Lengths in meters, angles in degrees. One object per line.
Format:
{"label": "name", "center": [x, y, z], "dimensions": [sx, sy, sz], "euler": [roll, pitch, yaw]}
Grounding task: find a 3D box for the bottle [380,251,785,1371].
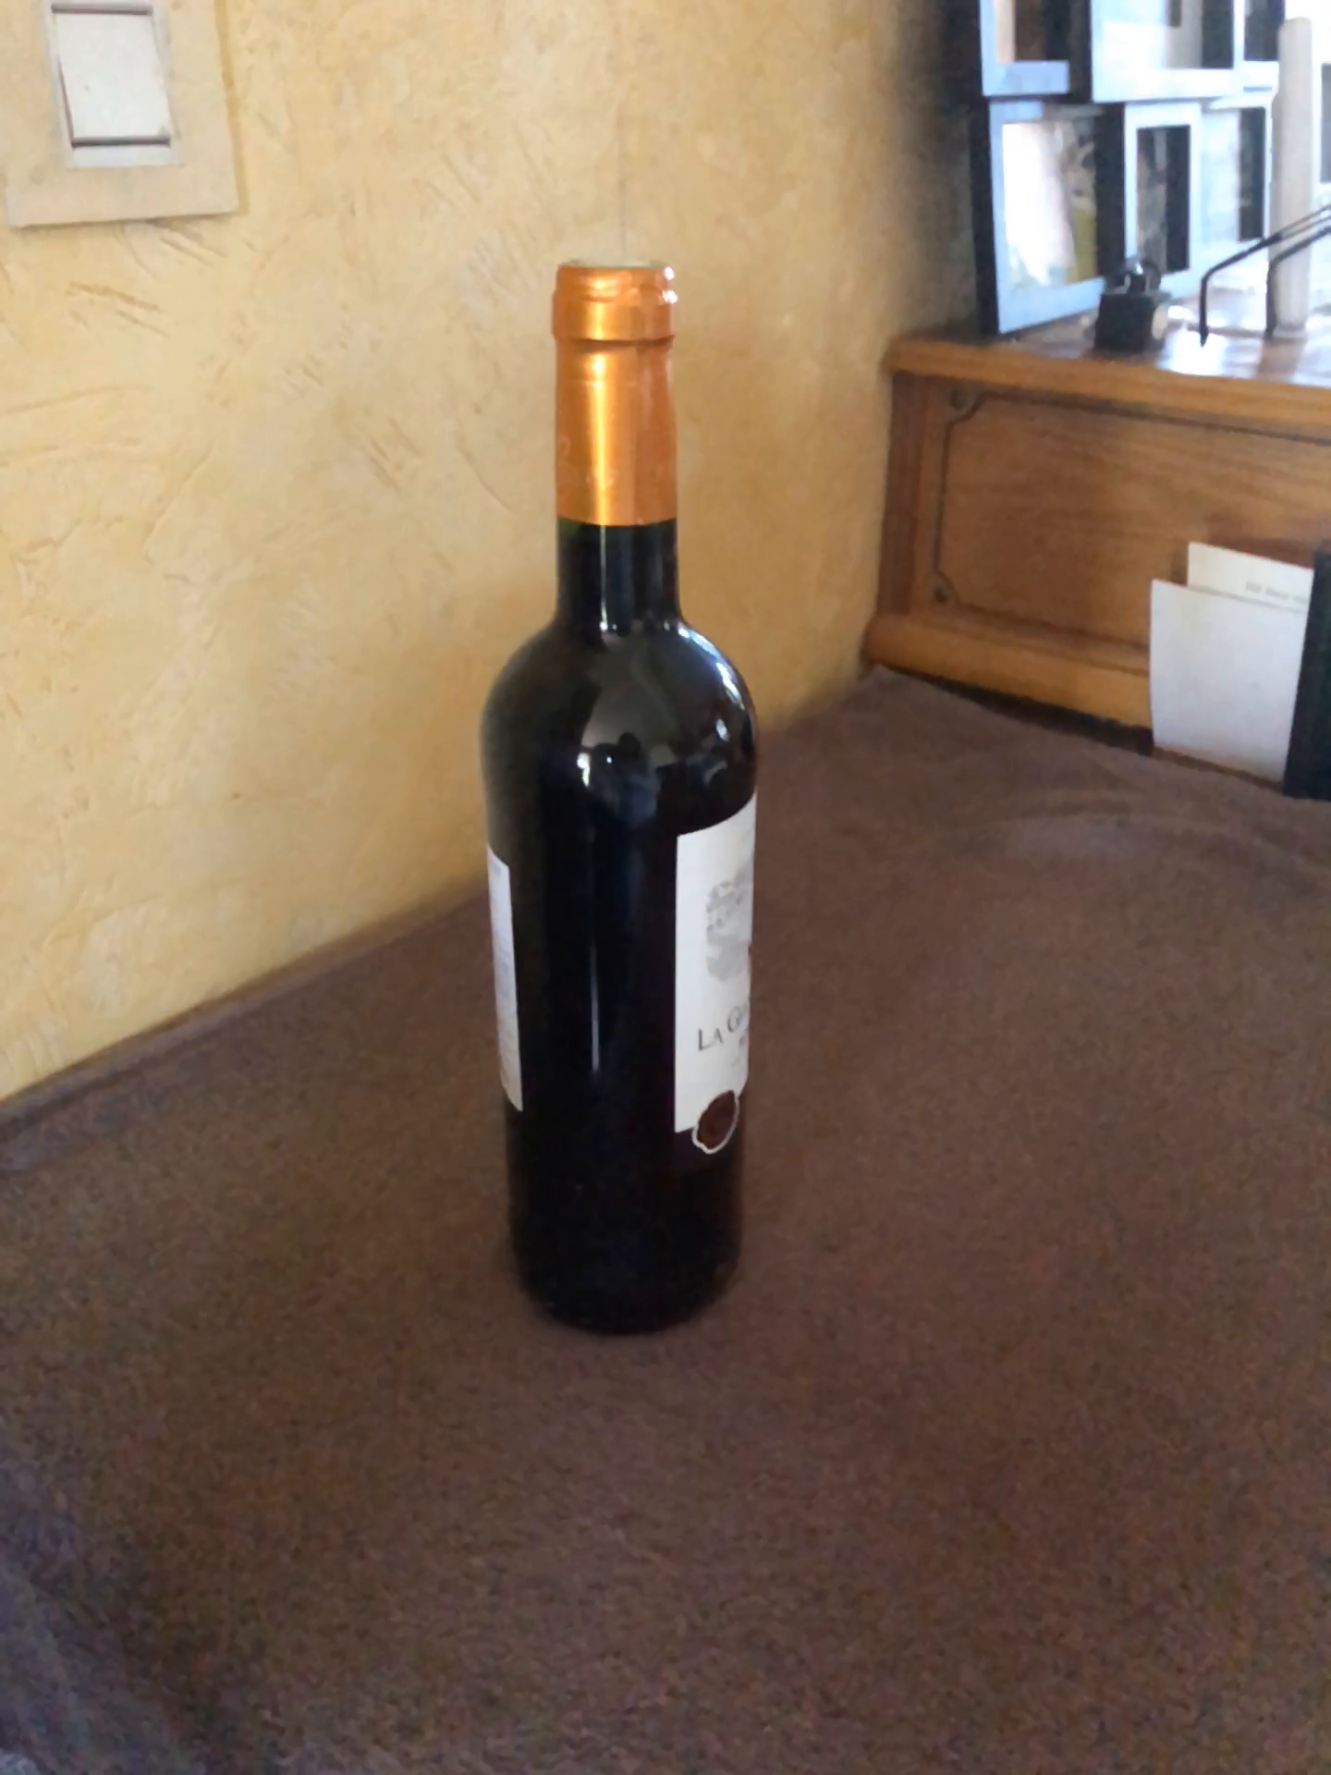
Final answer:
{"label": "bottle", "center": [-0.015, -0.008, 0.405], "dimensions": [0.080, 0.298, 0.081], "euler": [0, 29, 0]}
